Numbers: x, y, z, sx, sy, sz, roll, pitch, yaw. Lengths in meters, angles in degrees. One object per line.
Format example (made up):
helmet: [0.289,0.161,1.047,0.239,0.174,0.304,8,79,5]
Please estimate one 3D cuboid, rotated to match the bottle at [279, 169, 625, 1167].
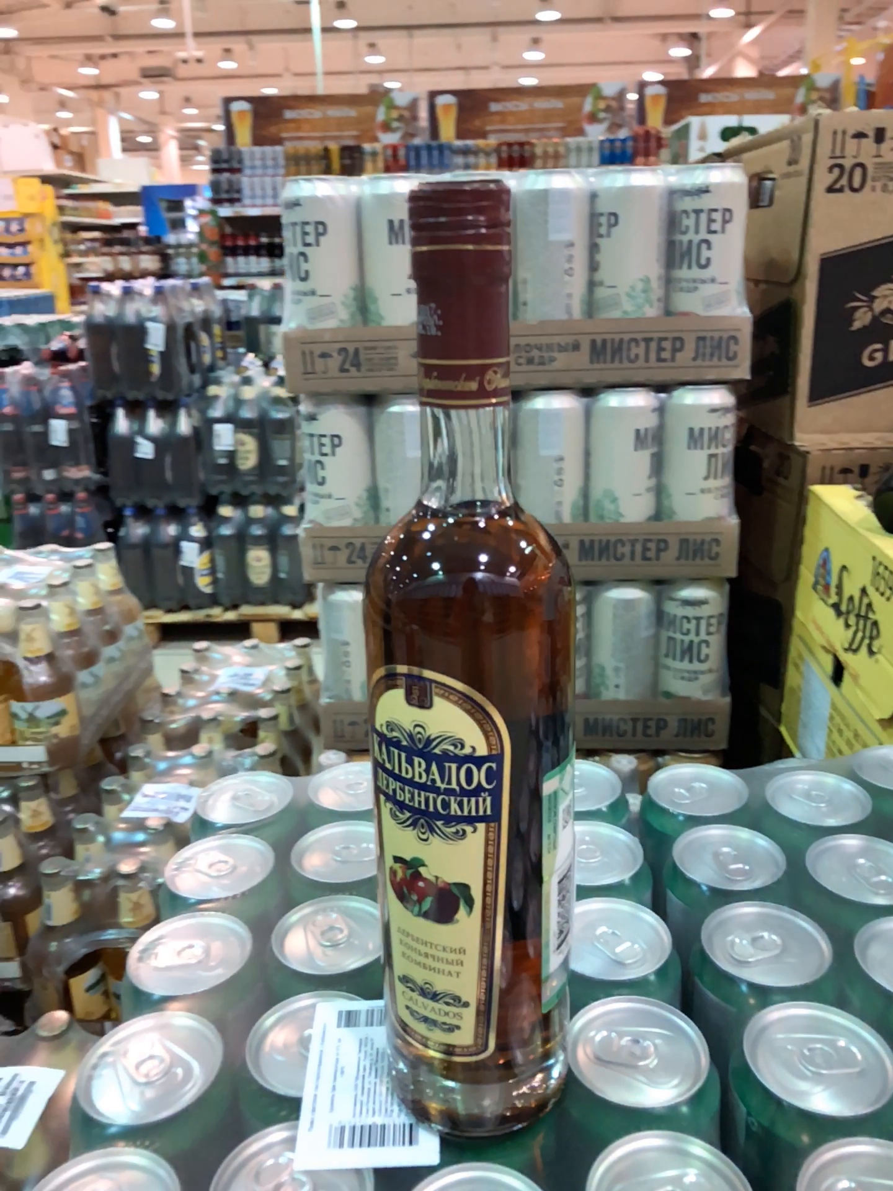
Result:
bottle: [0.008,0.029,0.316,0.070,0.298,0.070,-1,19,0]
